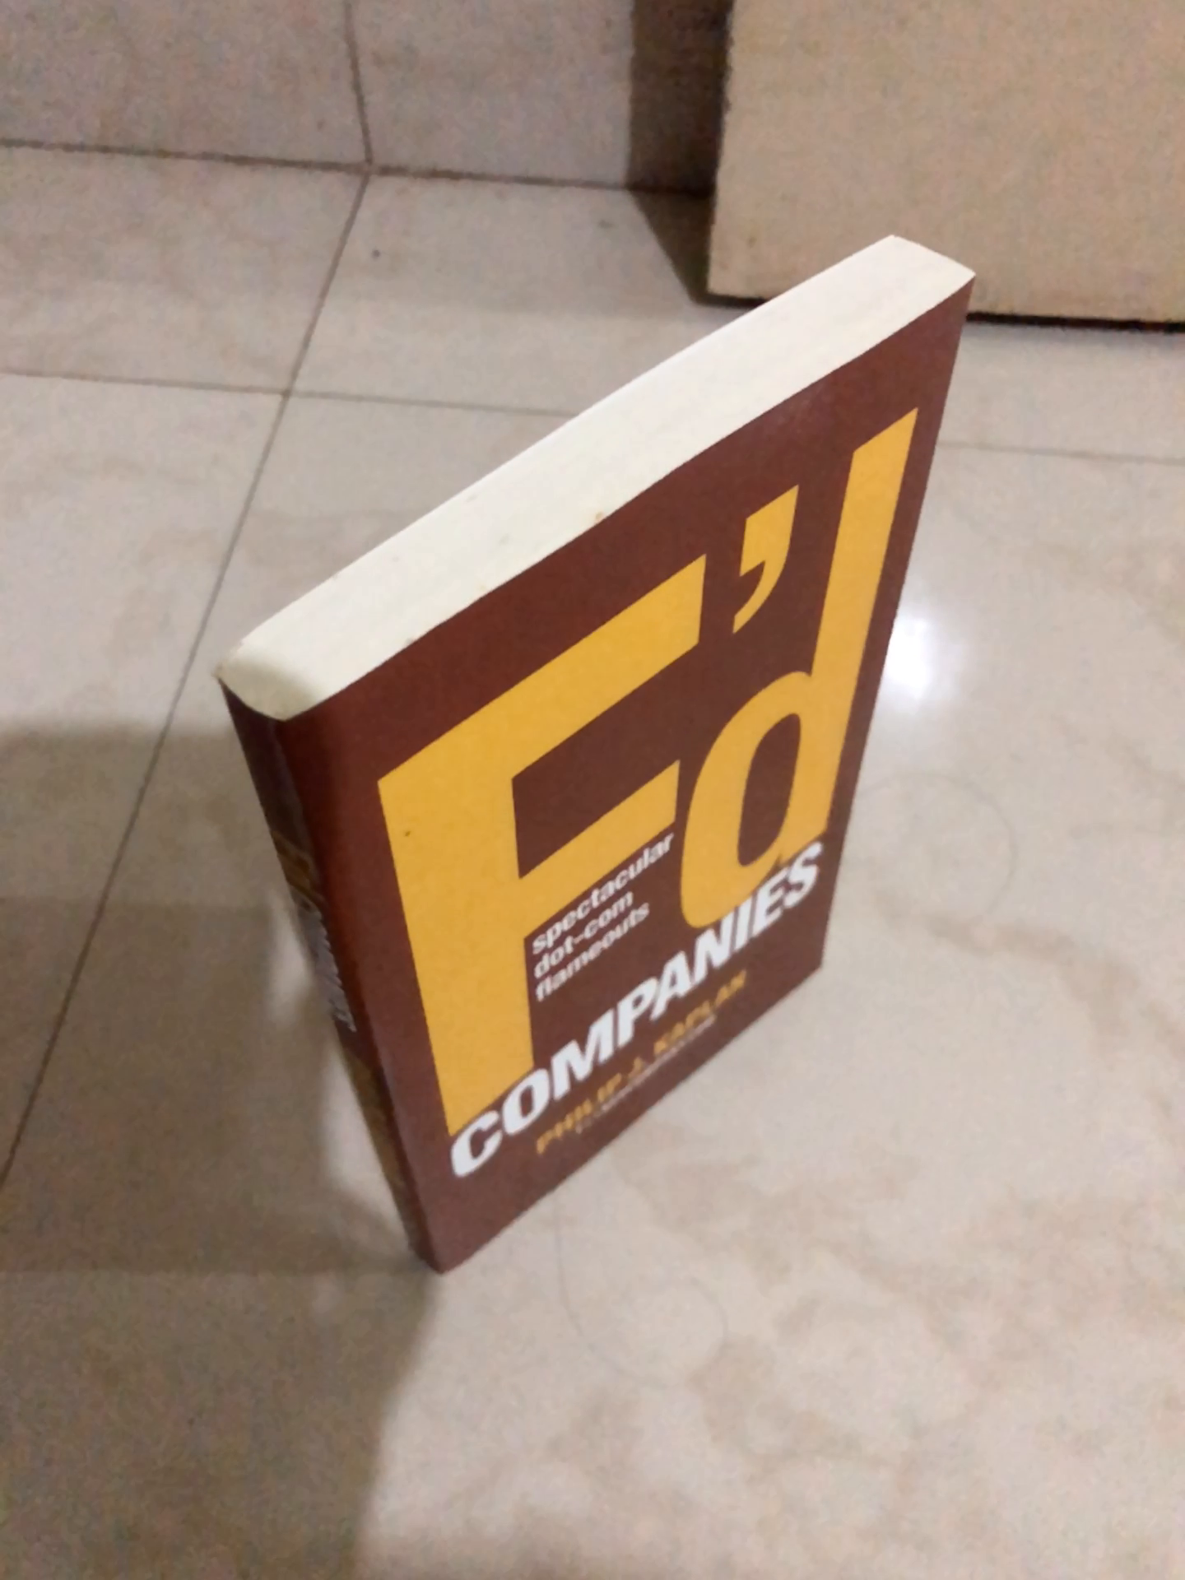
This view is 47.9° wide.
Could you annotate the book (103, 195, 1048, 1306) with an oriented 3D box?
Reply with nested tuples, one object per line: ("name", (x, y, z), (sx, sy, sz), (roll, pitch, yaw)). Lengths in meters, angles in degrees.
("book", (0.004, 0.013, 0.248), (0.130, 0.199, 0.030), (-35, 61, -23))
